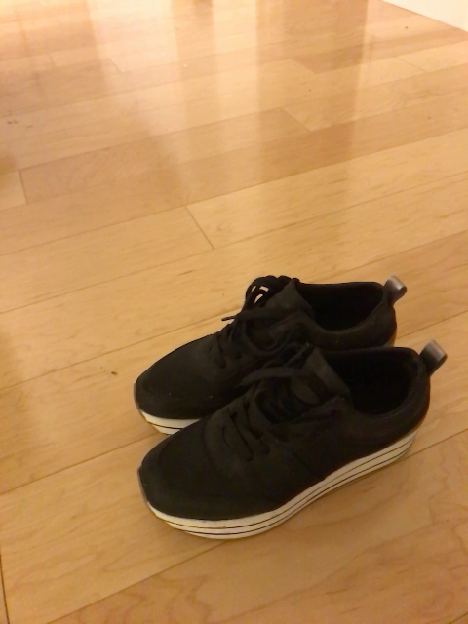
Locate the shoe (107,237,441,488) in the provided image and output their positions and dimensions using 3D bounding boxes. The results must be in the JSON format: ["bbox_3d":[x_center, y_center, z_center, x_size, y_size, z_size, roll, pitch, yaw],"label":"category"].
[{"bbox_3d":[0.039,0.041,0.514,0.290,0.109,0.121,-19,46,-16],"label":"shoe"}]

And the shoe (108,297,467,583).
[{"bbox_3d":[0.052,0.104,0.464,0.290,0.099,0.121,-19,46,-16],"label":"shoe"}]
